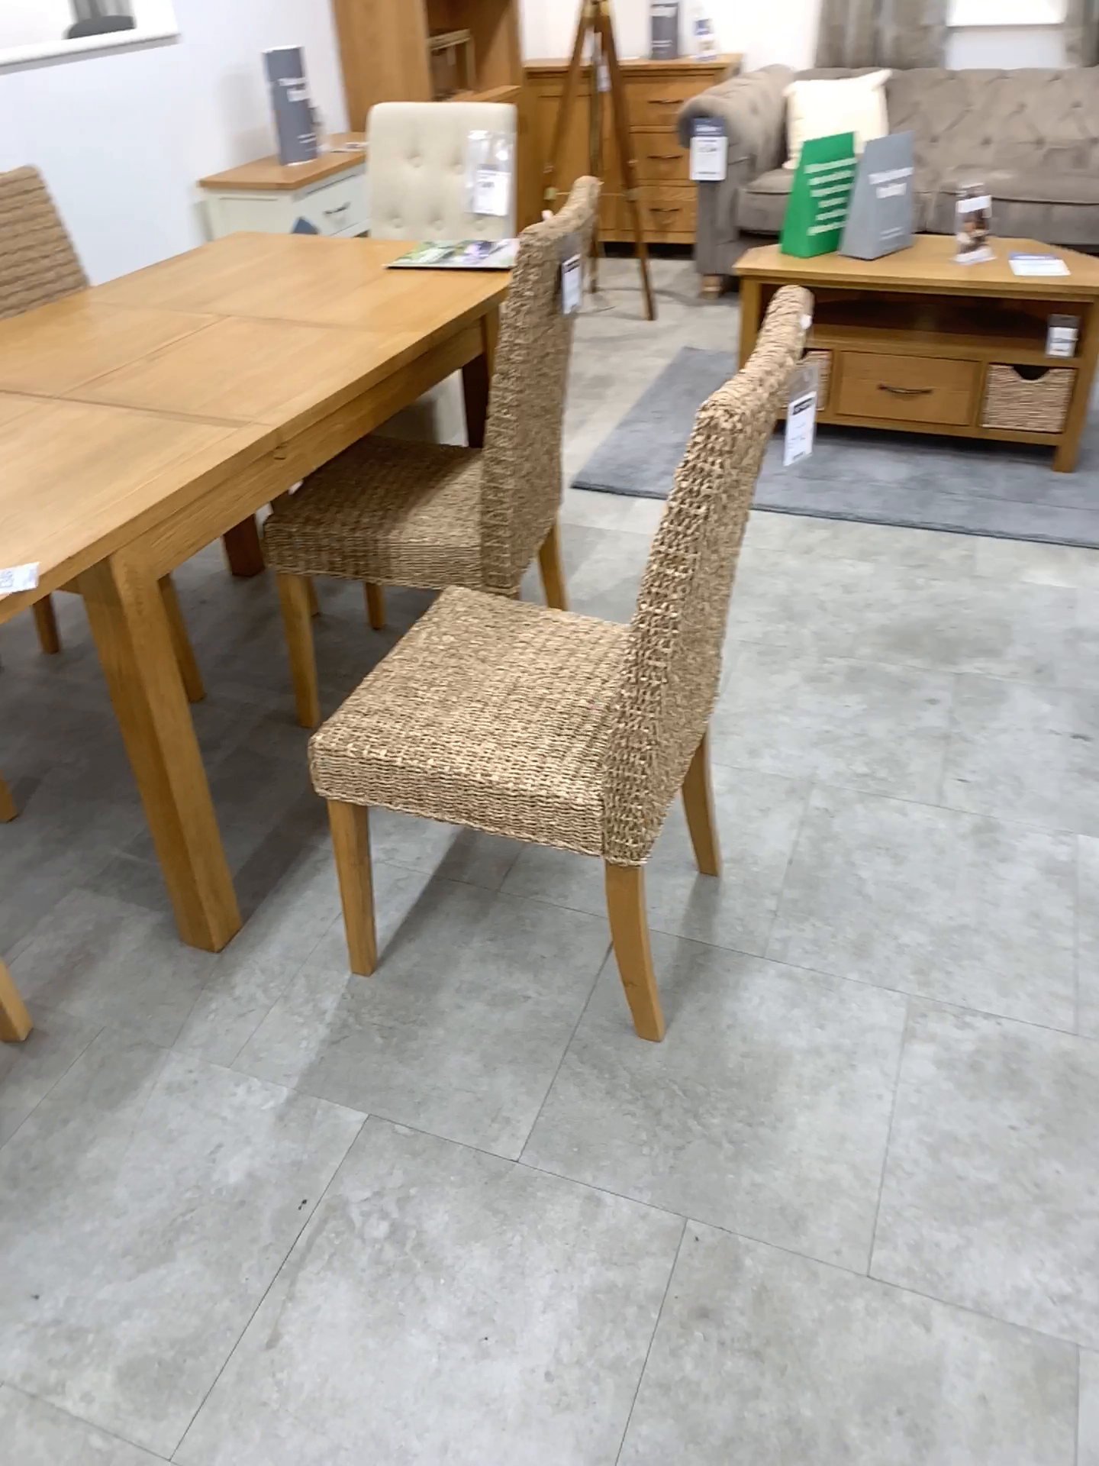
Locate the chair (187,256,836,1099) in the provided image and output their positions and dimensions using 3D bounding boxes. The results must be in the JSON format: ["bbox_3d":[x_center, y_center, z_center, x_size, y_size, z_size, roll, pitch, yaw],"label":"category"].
[{"bbox_3d":[0.009,-0.076,1.467,0.563,0.903,0.491,10,37,17],"label":"chair"}]

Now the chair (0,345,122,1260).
[{"bbox_3d":[-0.916,0.099,1.220,0.513,0.903,0.401,4,36,10],"label":"chair"}]

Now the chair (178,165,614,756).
[{"bbox_3d":[-0.202,-0.479,2.004,0.553,0.893,0.441,6,36,13],"label":"chair"}]
